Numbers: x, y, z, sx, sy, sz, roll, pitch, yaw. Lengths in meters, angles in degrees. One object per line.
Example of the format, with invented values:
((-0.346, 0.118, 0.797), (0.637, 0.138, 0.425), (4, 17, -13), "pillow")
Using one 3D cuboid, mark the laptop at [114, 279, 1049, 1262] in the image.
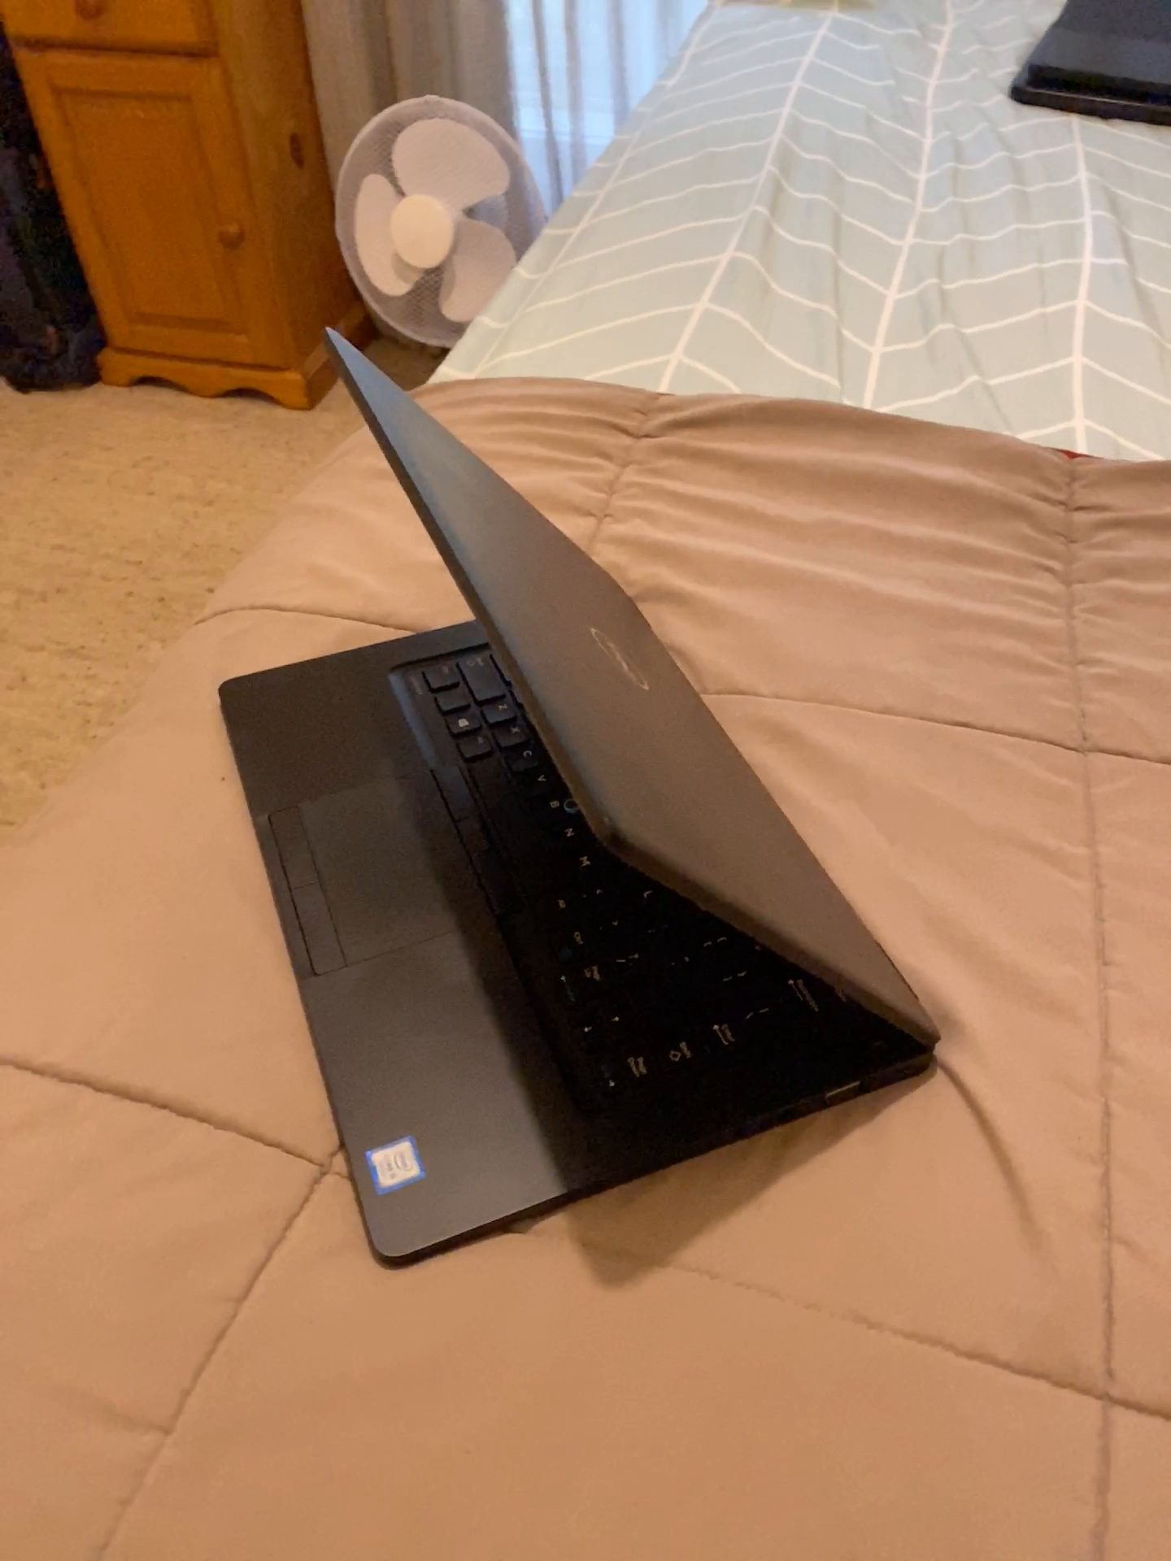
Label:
((-0.031, -0.035, 0.491), (0.226, 0.183, 0.335), (-16, 47, -15), "laptop")
